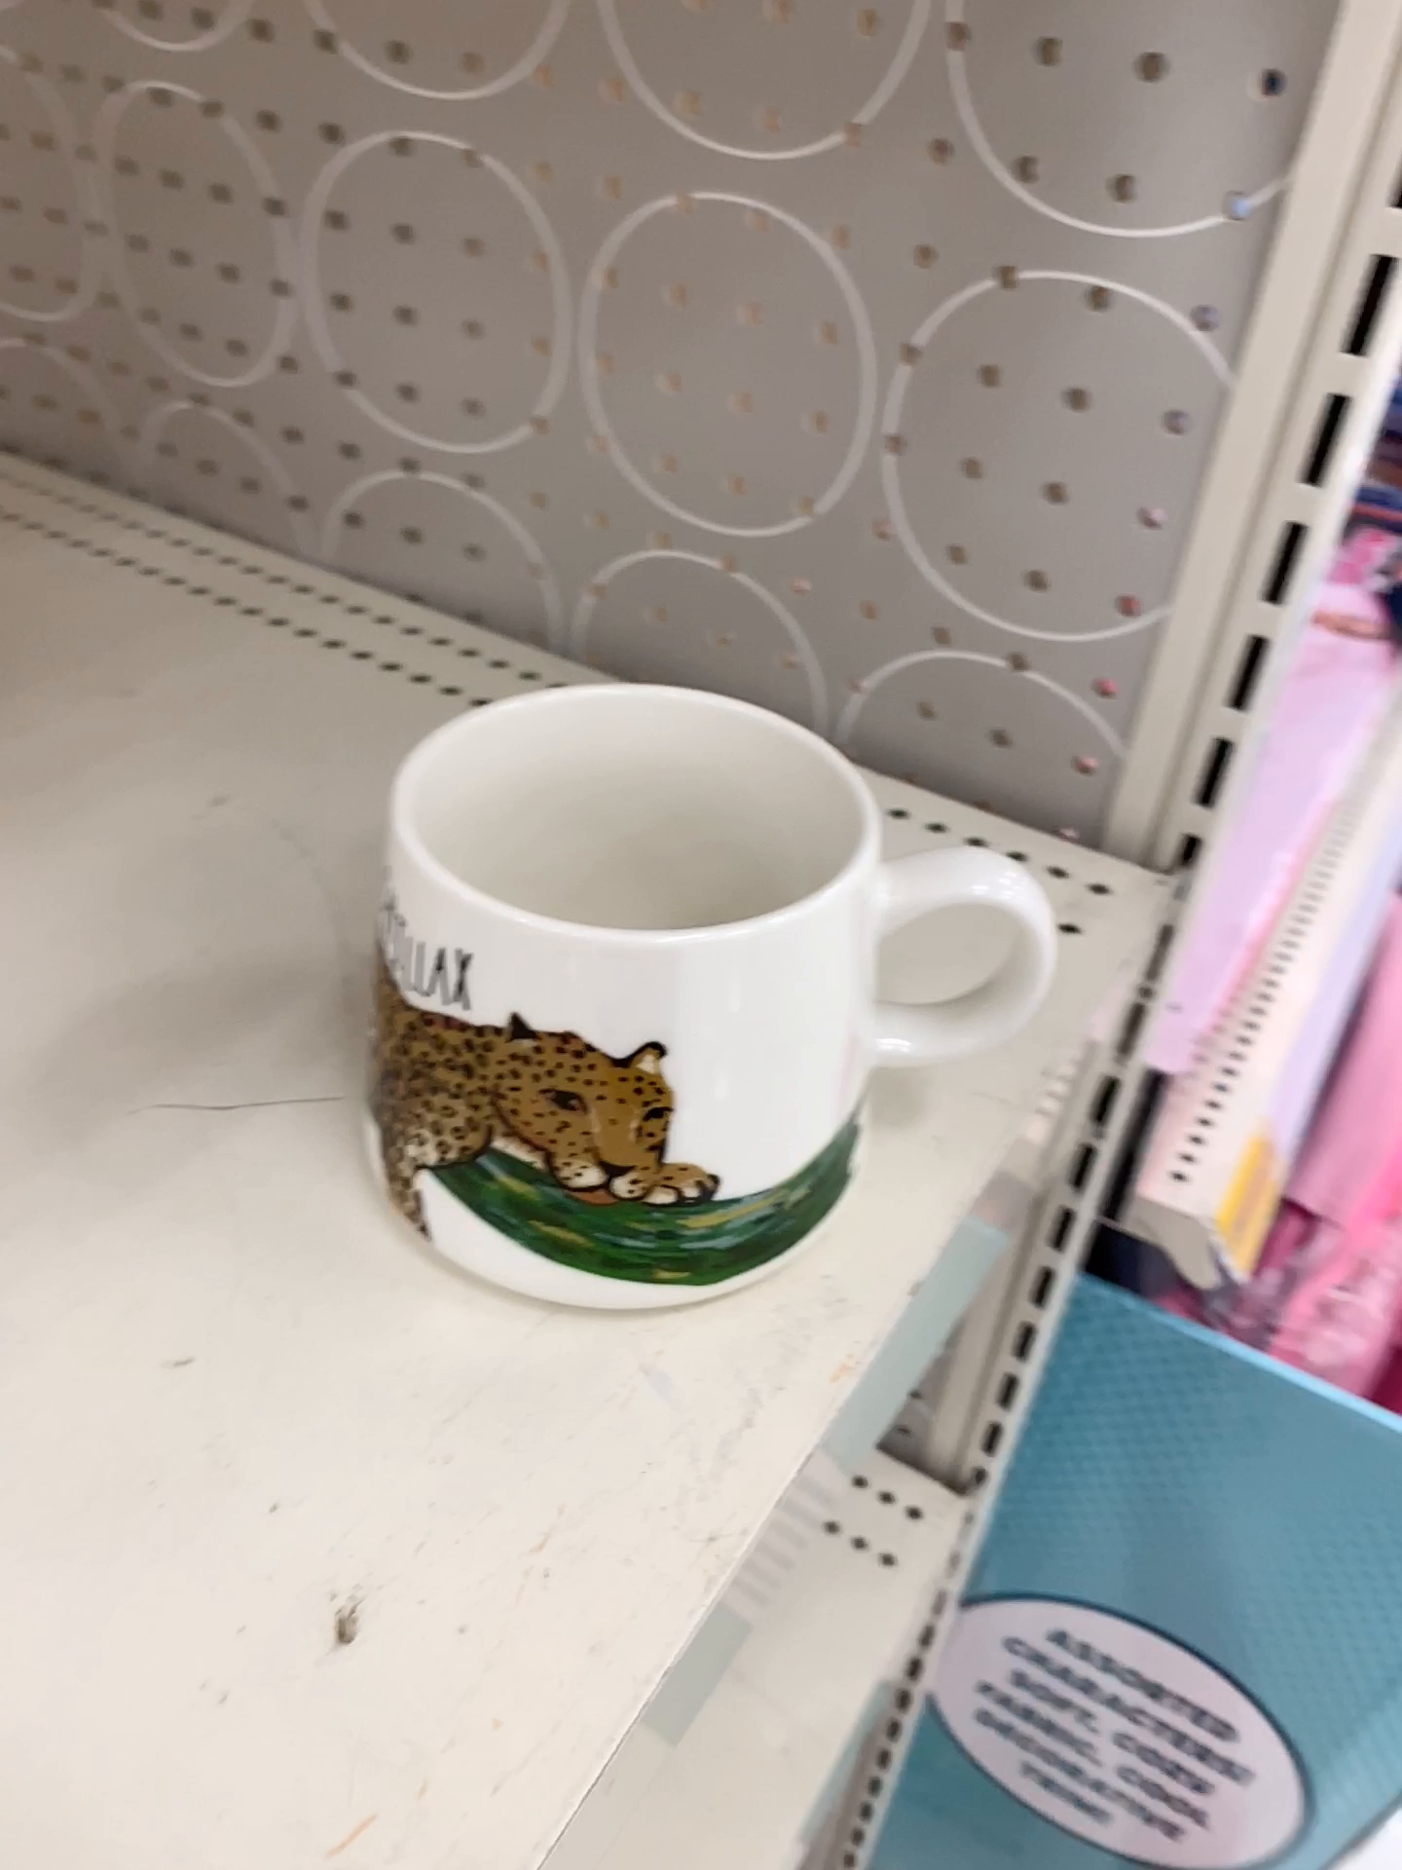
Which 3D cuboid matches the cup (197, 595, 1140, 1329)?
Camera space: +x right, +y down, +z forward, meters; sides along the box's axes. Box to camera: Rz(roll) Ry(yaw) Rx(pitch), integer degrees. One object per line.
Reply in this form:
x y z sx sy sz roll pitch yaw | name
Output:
-0.009 0.002 0.287 0.140 0.090 0.111 2 37 -4 | cup
